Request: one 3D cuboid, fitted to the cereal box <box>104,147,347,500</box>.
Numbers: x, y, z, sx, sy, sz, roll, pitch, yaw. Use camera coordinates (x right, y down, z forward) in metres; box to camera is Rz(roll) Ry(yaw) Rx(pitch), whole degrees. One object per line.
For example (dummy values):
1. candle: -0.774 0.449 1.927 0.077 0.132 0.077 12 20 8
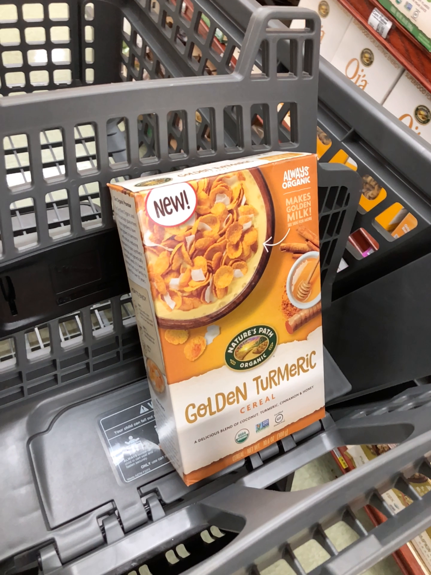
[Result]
1. cereal box: 0.023 0.025 0.433 0.180 0.270 0.070 -18 22 -26
